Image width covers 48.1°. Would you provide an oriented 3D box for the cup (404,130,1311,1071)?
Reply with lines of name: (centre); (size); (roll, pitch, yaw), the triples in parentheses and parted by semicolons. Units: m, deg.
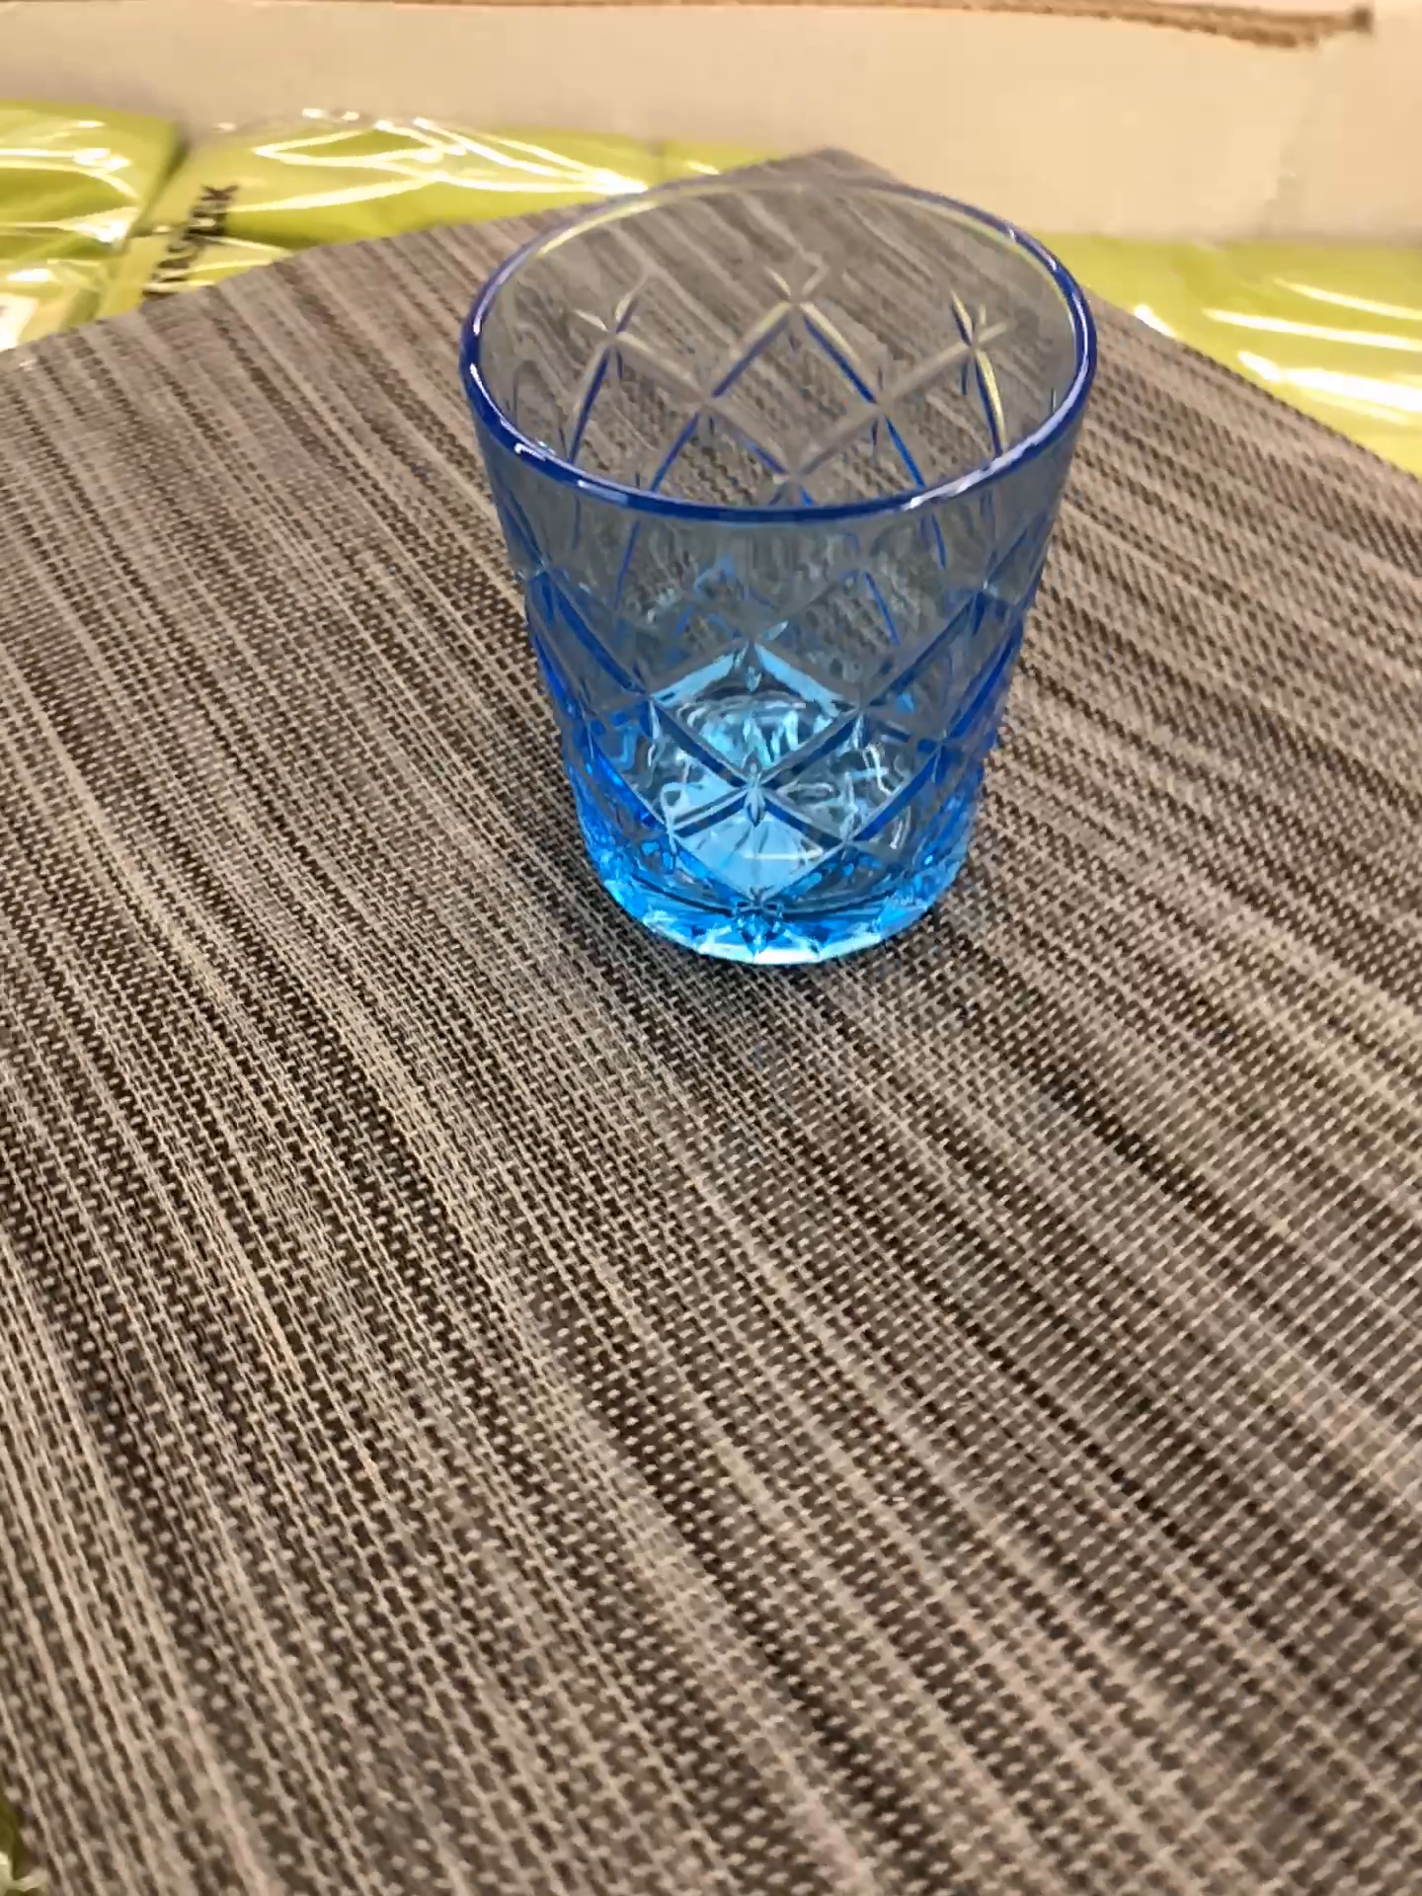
cup: (0.012, -0.049, 0.226); (0.090, 0.090, 0.080); (-10, 50, -9)
